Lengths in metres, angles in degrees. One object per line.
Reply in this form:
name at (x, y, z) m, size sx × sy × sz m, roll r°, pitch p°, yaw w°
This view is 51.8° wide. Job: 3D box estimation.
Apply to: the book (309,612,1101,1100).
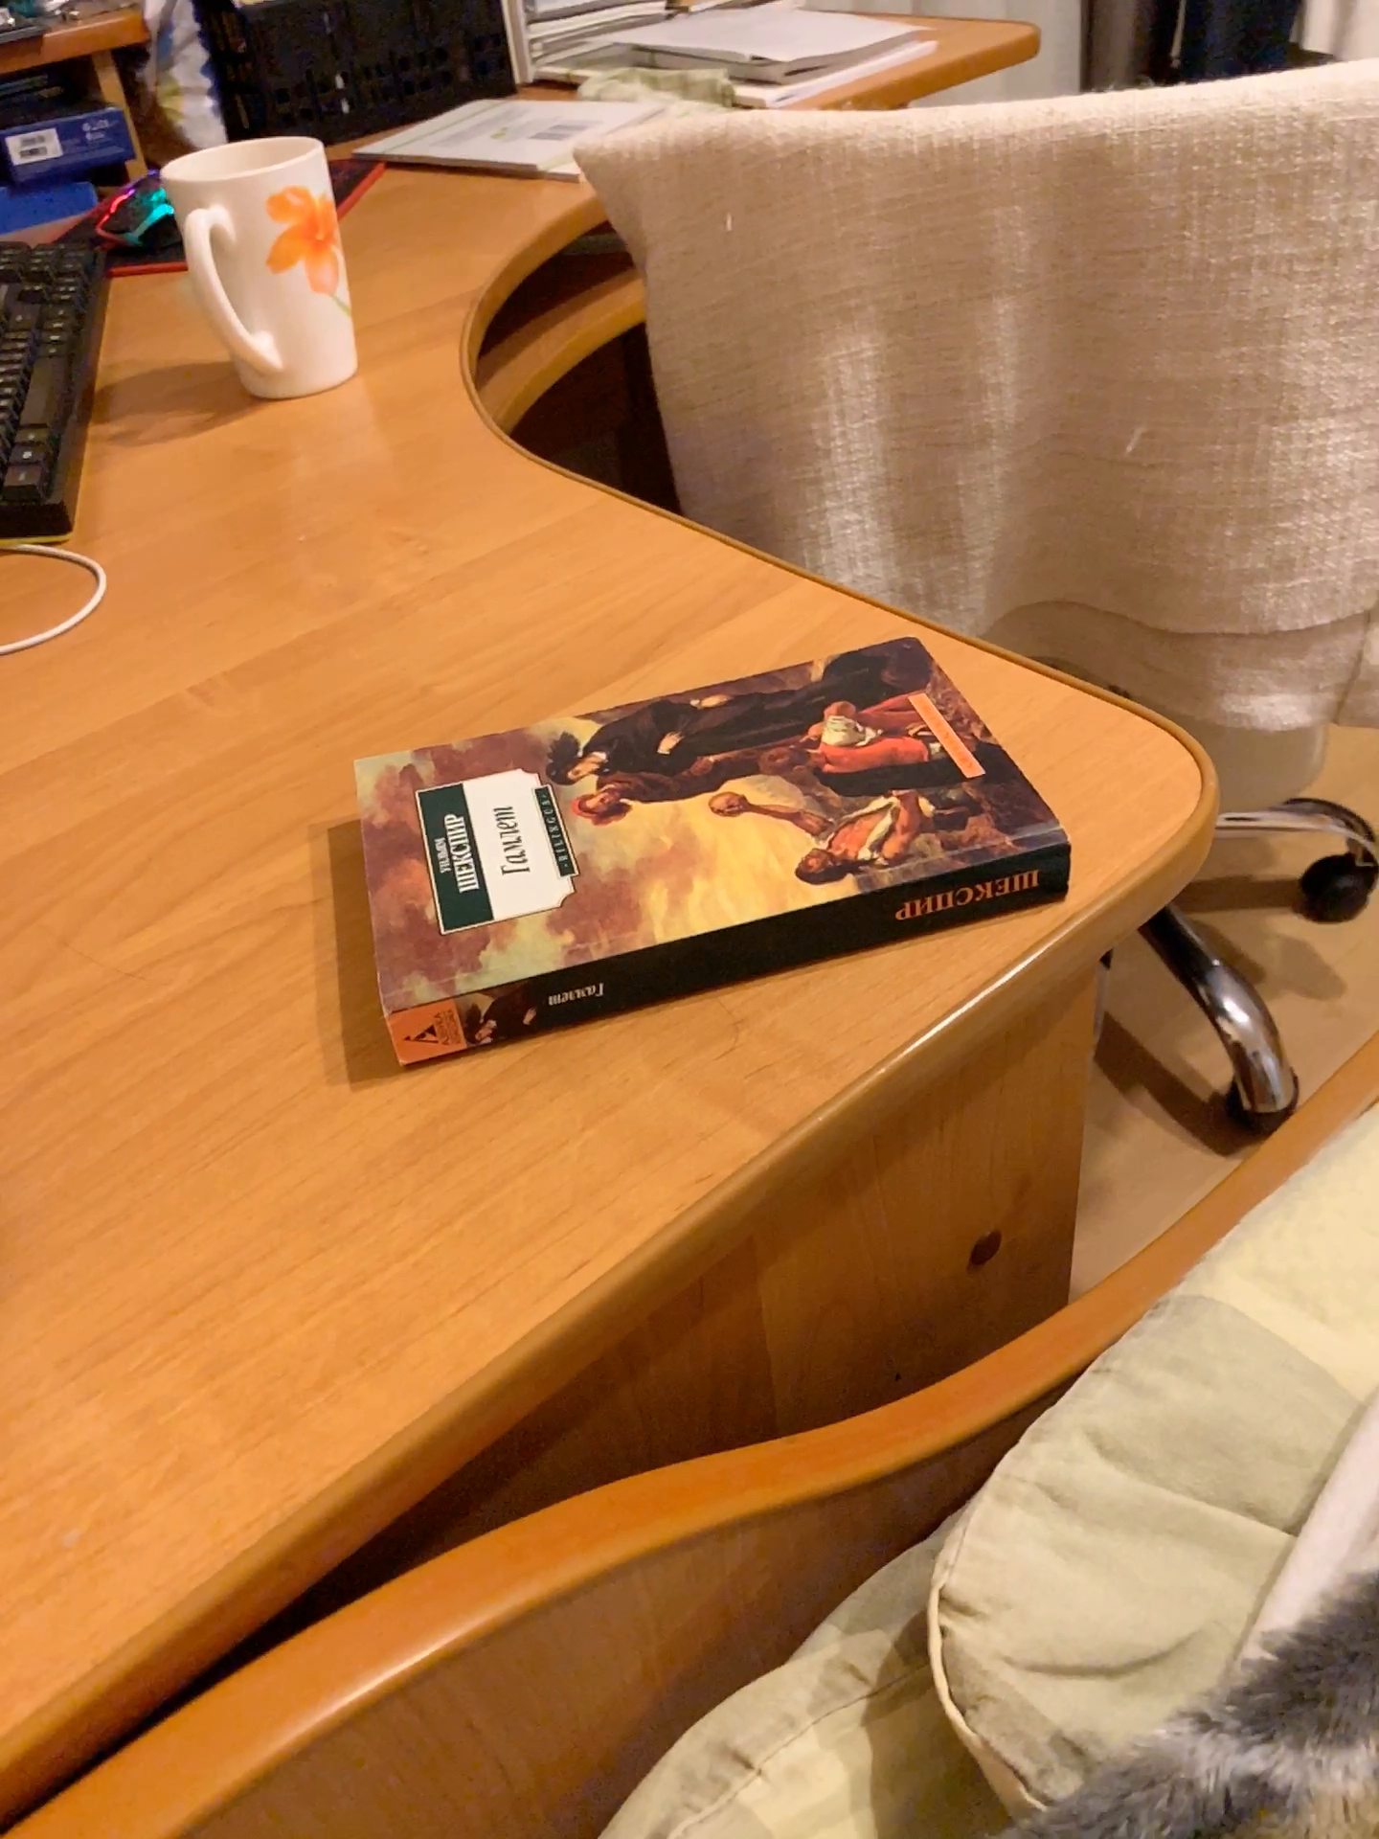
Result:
book at (-0.004, -0.026, 0.390) m, size 0.190 × 0.030 × 0.121 m, roll -13°, pitch 39°, yaw -7°
